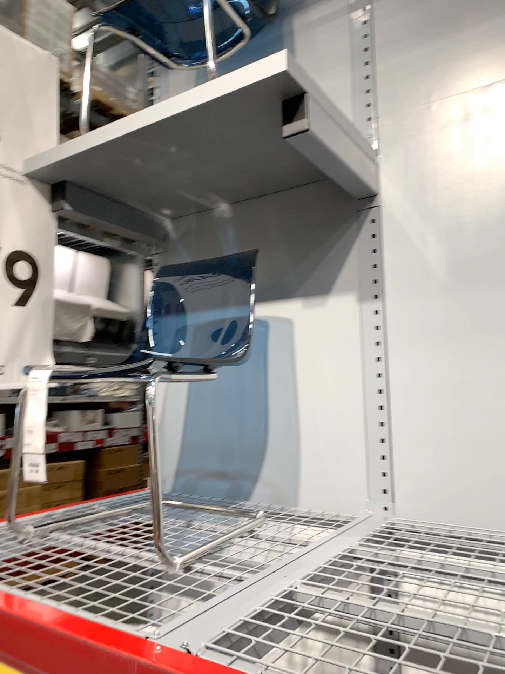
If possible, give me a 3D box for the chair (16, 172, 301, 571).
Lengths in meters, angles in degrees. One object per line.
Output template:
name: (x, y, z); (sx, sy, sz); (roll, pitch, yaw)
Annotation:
chair: (-0.240, 0.095, 1.460); (0.530, 0.842, 0.549); (-6, -9, 34)
